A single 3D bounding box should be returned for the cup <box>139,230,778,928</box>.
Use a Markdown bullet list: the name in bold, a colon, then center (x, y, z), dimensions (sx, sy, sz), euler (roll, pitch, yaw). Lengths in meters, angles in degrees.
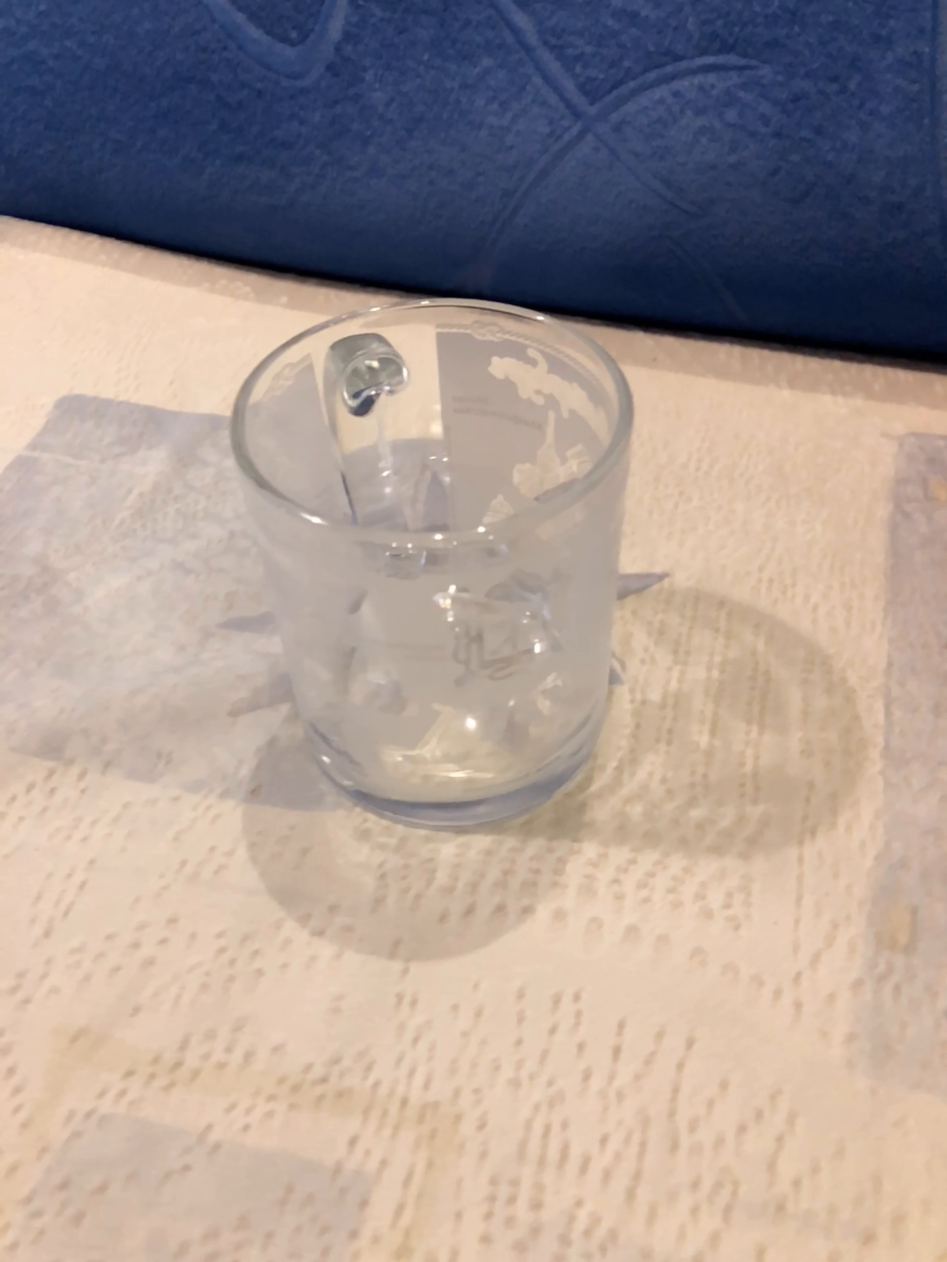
- **cup**: center (-0.011, -0.019, 0.239), dimensions (0.090, 0.079, 0.121), euler (-17, 49, -15)
